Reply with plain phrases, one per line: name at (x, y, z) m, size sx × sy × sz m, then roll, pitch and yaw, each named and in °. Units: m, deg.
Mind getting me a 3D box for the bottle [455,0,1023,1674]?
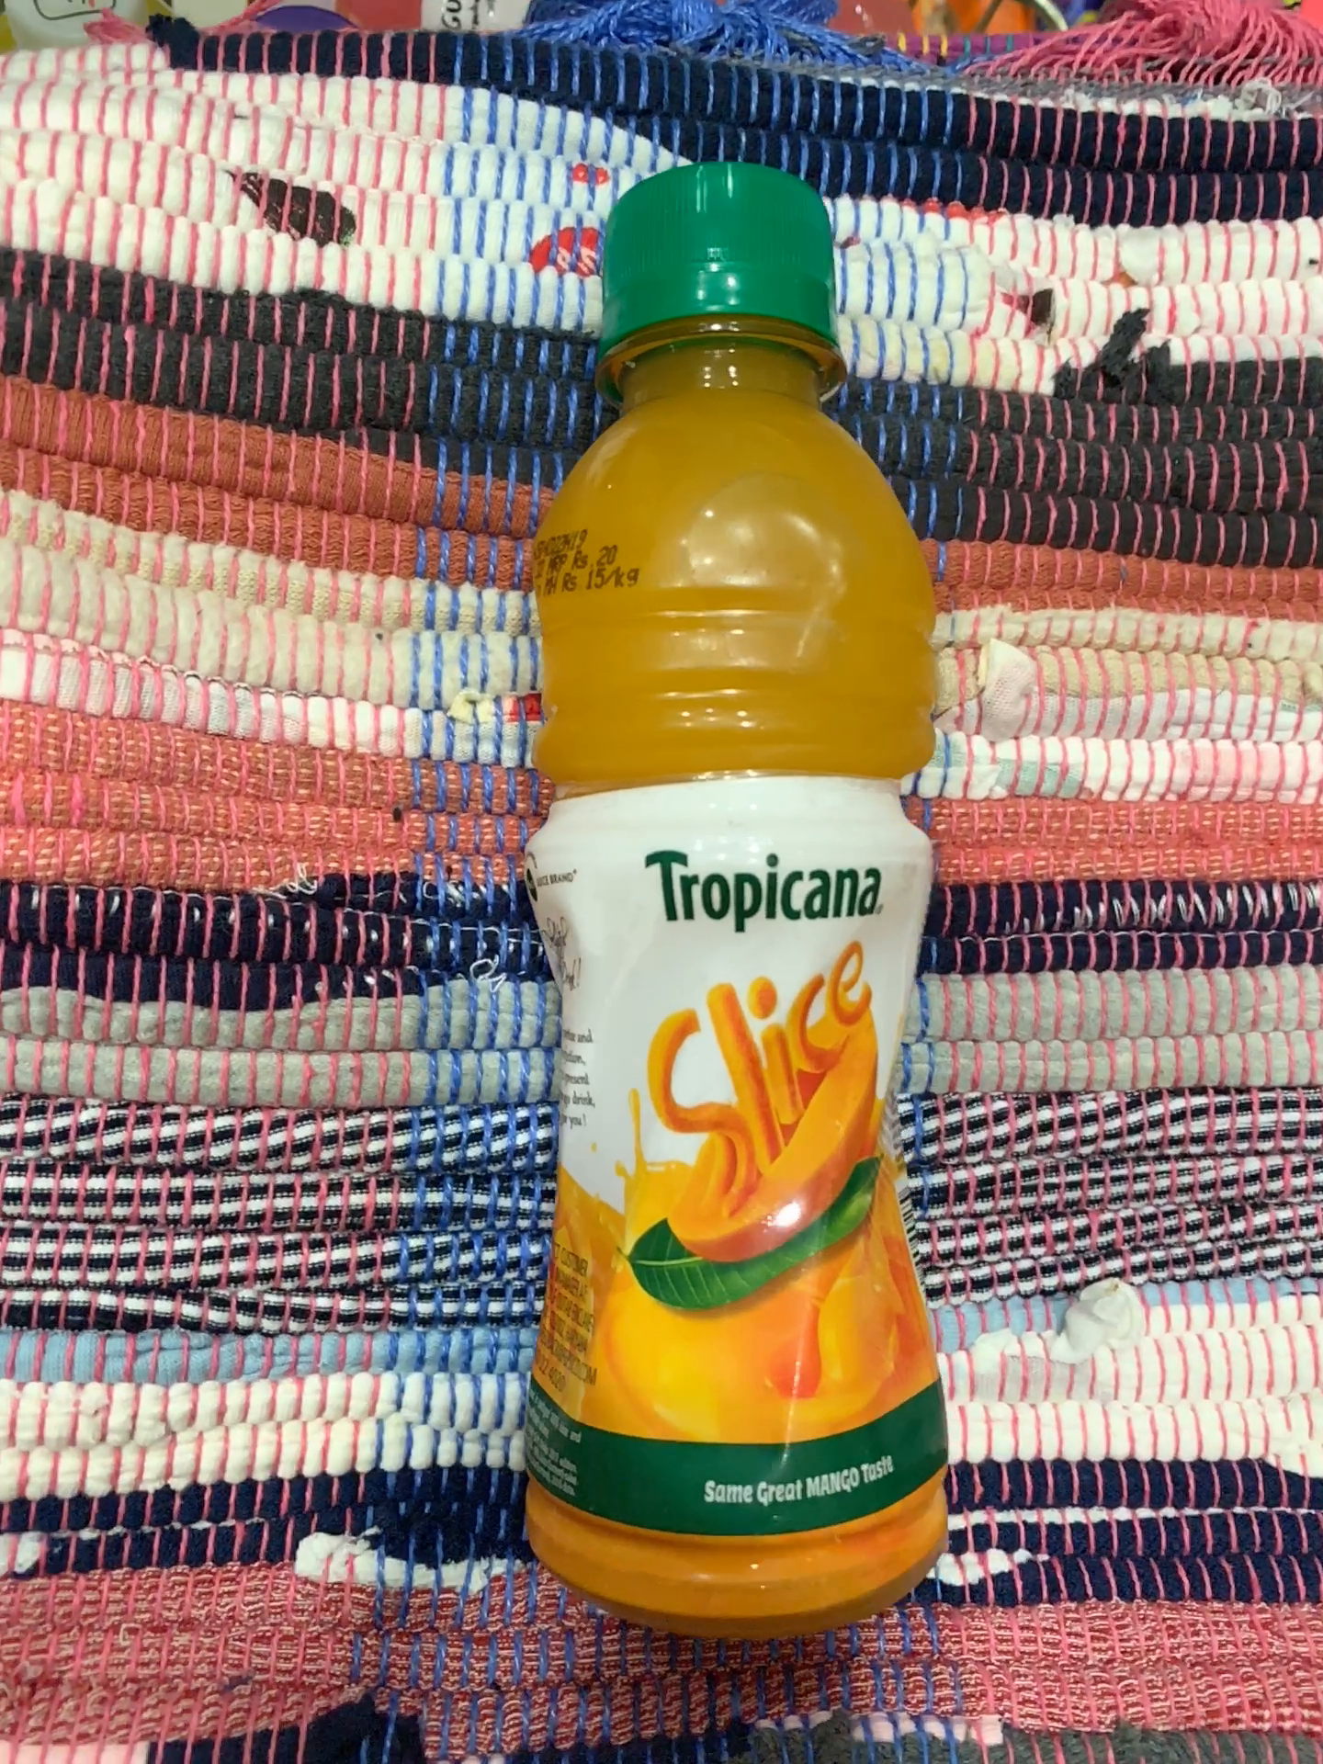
bottle at (0.006, -0.010, 0.181) m, size 0.060 × 0.050 × 0.190 m, roll 1°, pitch 85°, yaw -12°
